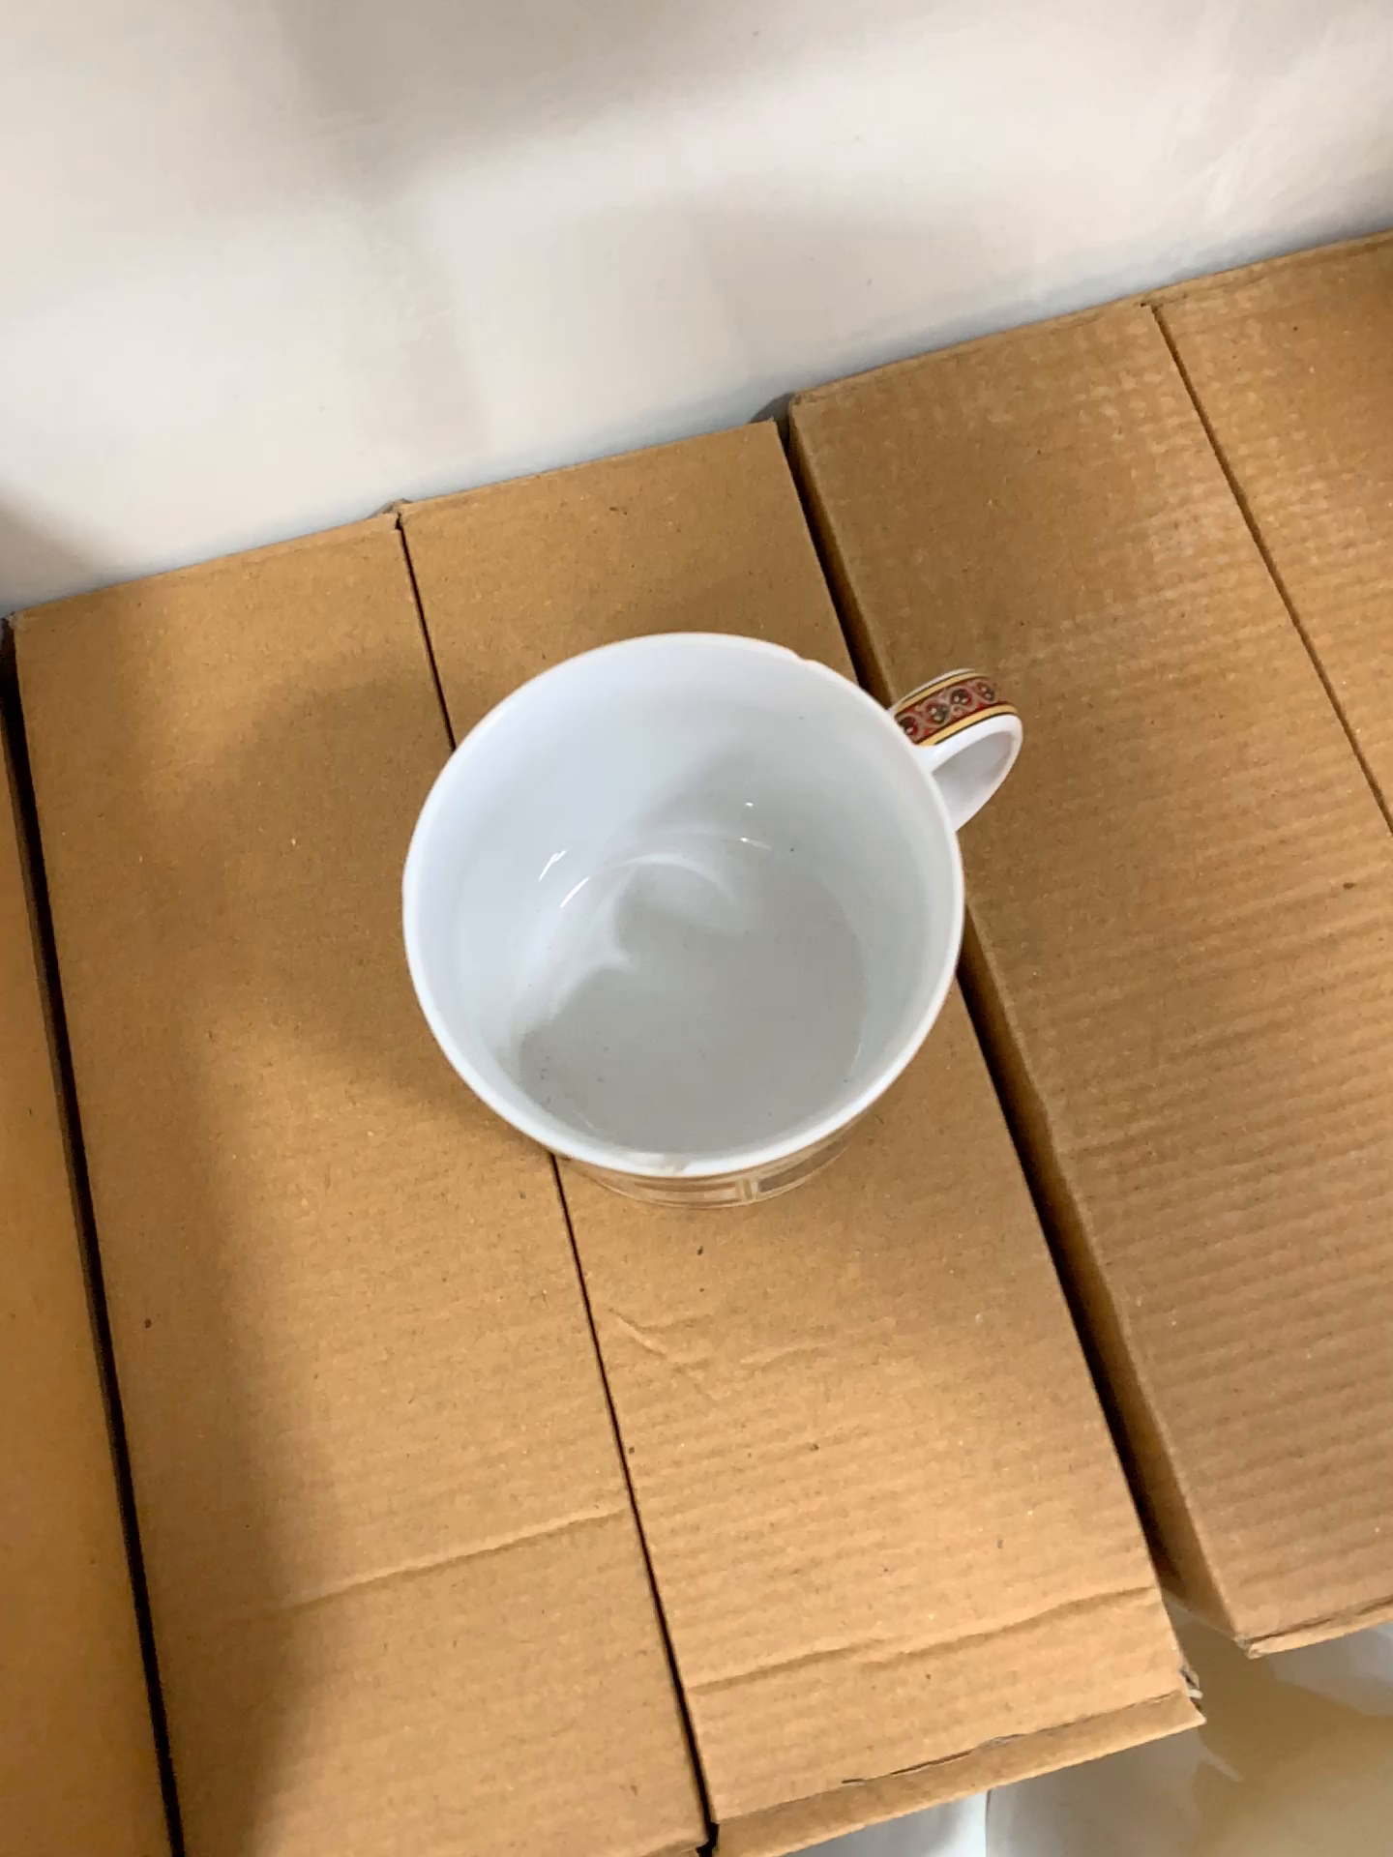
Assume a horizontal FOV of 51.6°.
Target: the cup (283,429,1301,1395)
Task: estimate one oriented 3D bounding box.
[{"bbox_3d":[0.013,0.002,0.214,0.100,0.070,0.080,-41,77,-10],"label":"cup"}]
